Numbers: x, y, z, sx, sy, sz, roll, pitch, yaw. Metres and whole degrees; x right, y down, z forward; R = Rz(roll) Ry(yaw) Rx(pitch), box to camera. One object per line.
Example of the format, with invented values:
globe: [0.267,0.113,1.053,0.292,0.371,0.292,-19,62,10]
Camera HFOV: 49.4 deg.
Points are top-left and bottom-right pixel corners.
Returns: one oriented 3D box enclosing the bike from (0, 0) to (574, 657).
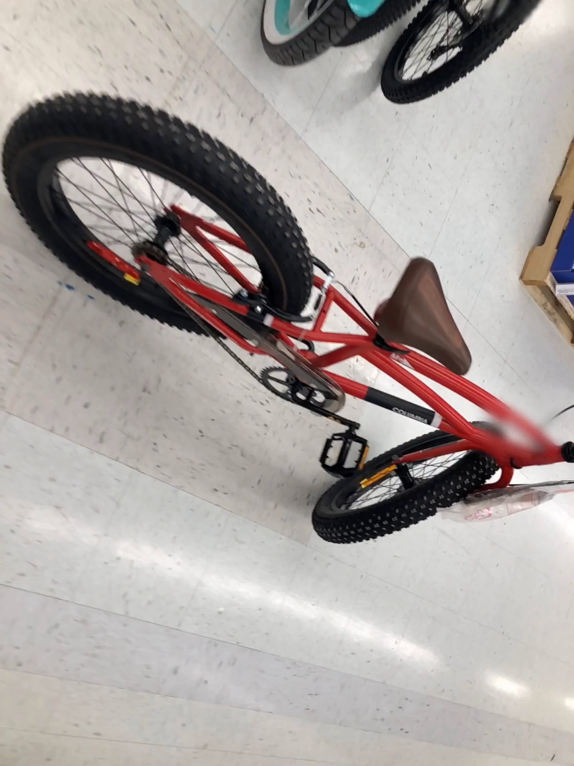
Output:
bike: [0.157,-0.068,1.220,1.362,0.969,0.607,35,74,-42]
